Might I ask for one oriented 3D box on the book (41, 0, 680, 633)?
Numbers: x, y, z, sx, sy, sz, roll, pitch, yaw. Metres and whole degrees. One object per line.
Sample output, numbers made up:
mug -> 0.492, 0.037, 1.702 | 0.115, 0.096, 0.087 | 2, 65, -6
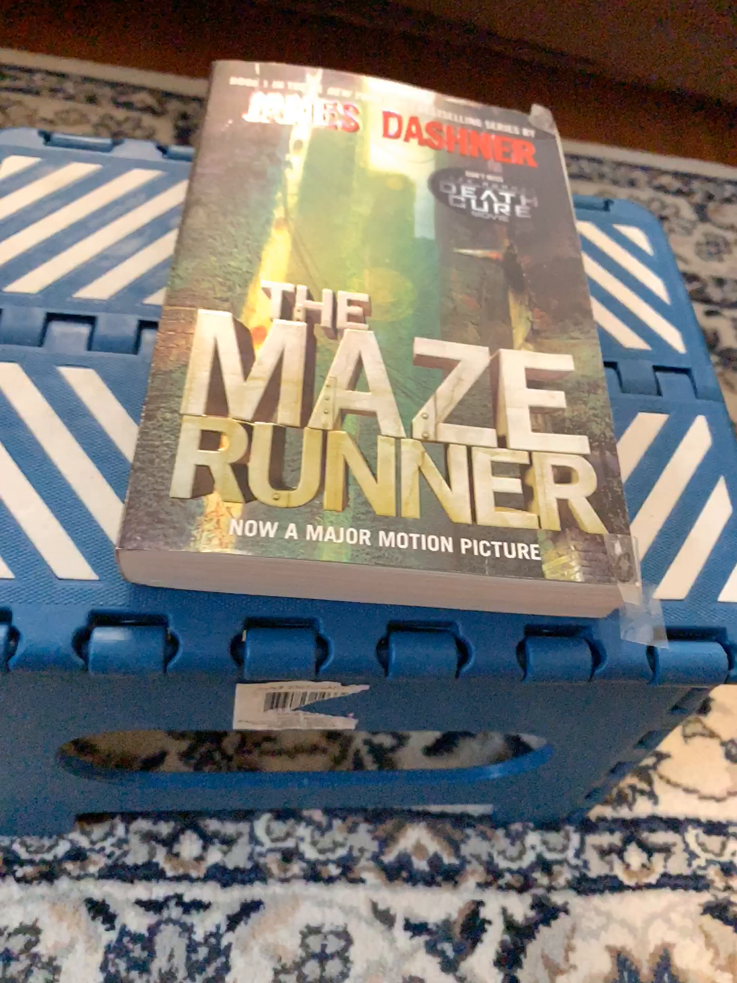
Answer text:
book -> 0.002, -0.074, 0.252 | 0.150, 0.030, 0.231 | 6, 58, -7
